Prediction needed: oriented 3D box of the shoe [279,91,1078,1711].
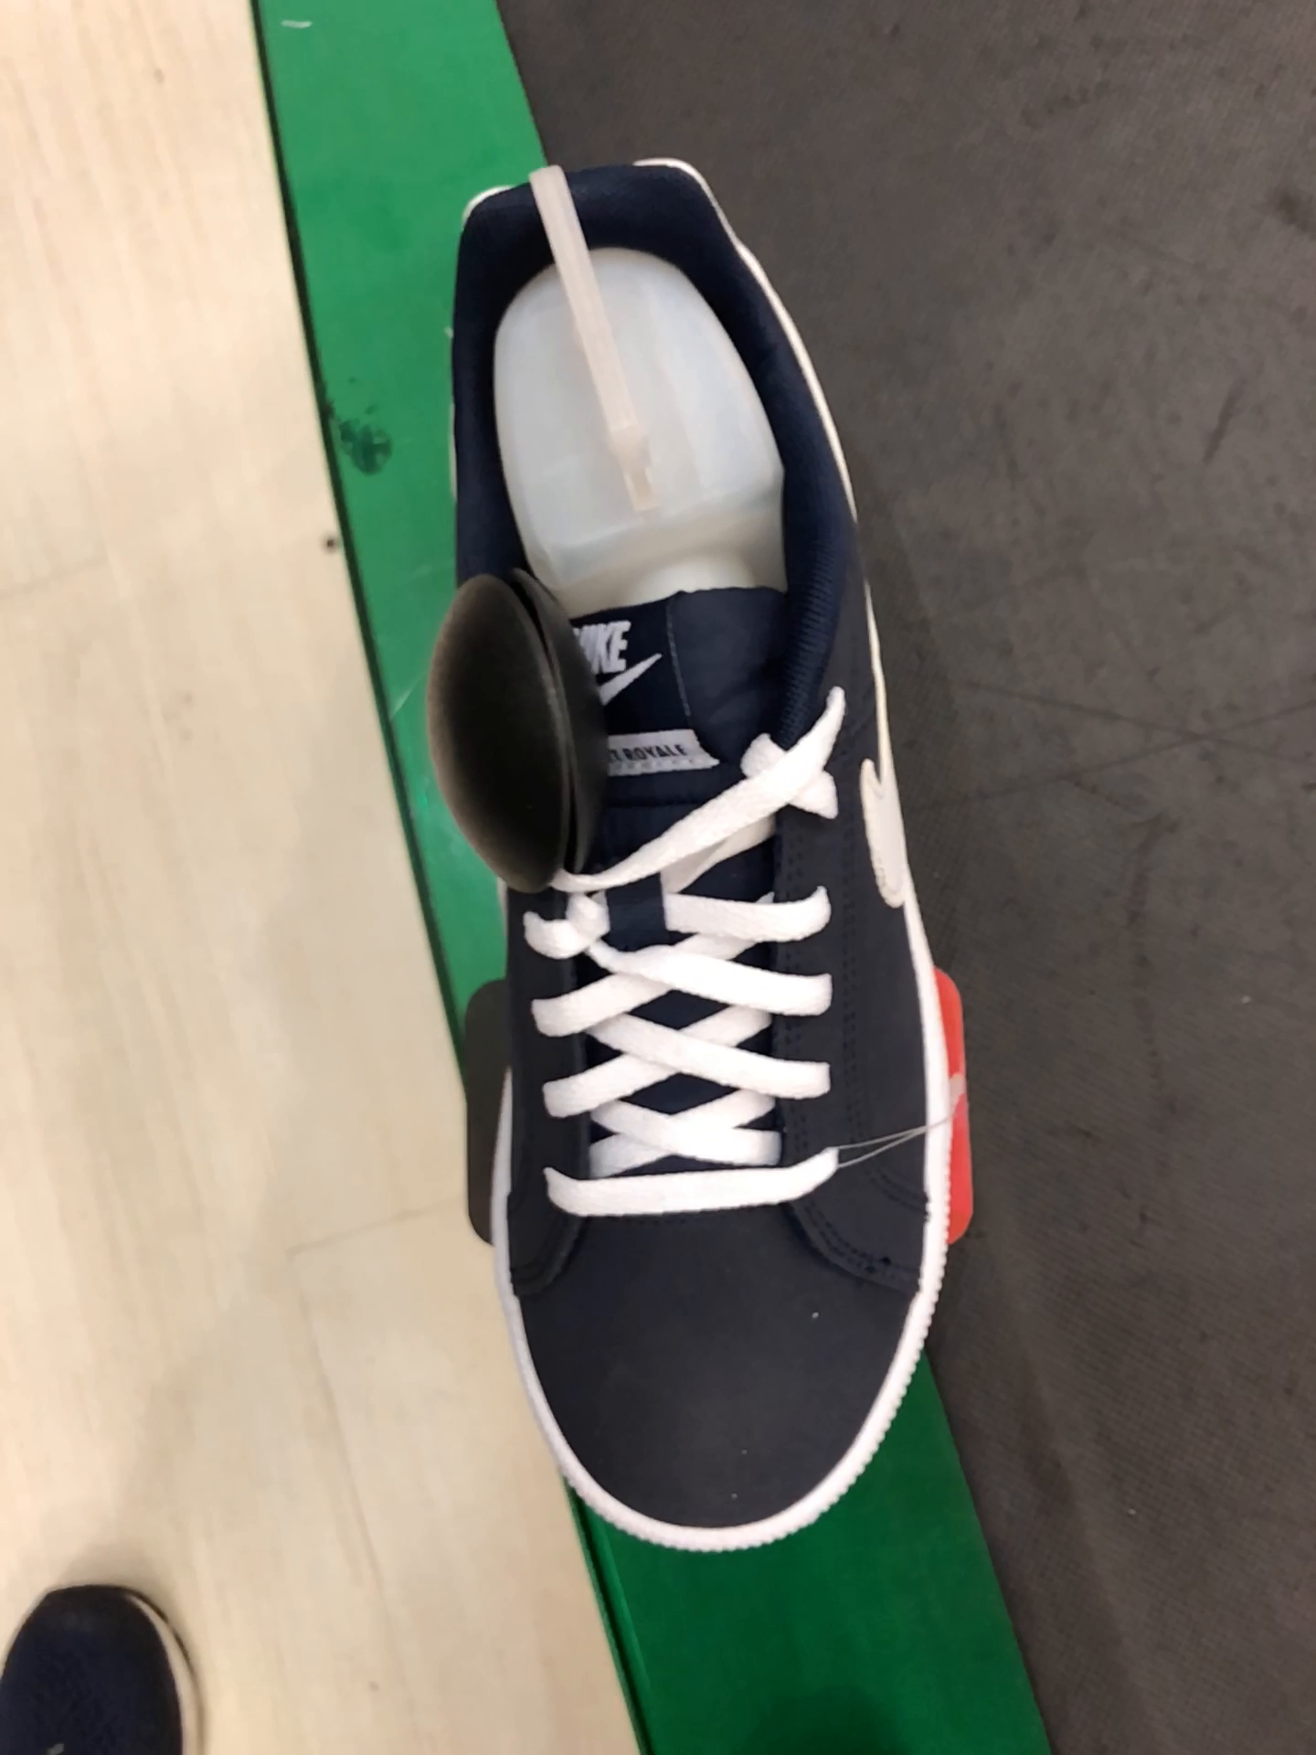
[{"bbox_3d":[0.004,0.005,0.279,0.110,0.090,0.250,-5,84,8],"label":"shoe"}]
